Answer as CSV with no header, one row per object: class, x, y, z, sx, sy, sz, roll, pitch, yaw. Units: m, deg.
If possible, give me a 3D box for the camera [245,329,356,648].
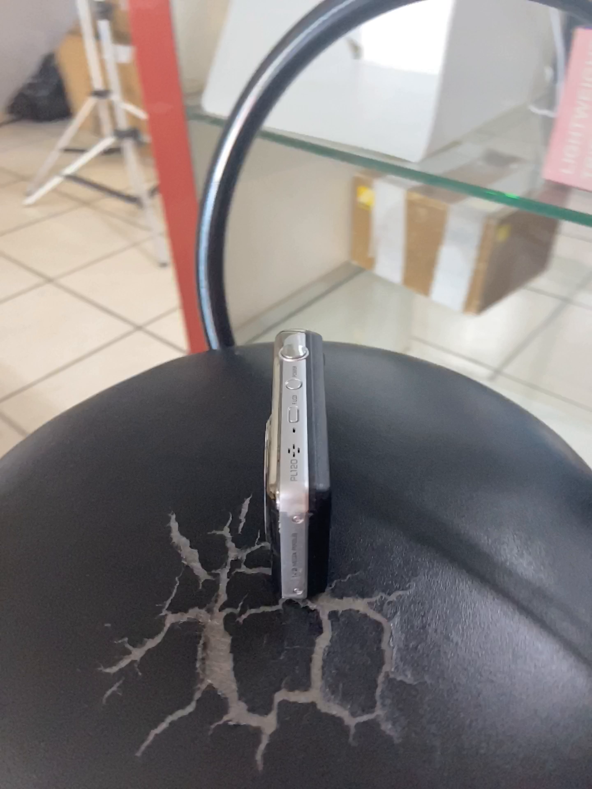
camera,0.003,0.029,0.225,0.030,0.060,0.101,0,39,2
